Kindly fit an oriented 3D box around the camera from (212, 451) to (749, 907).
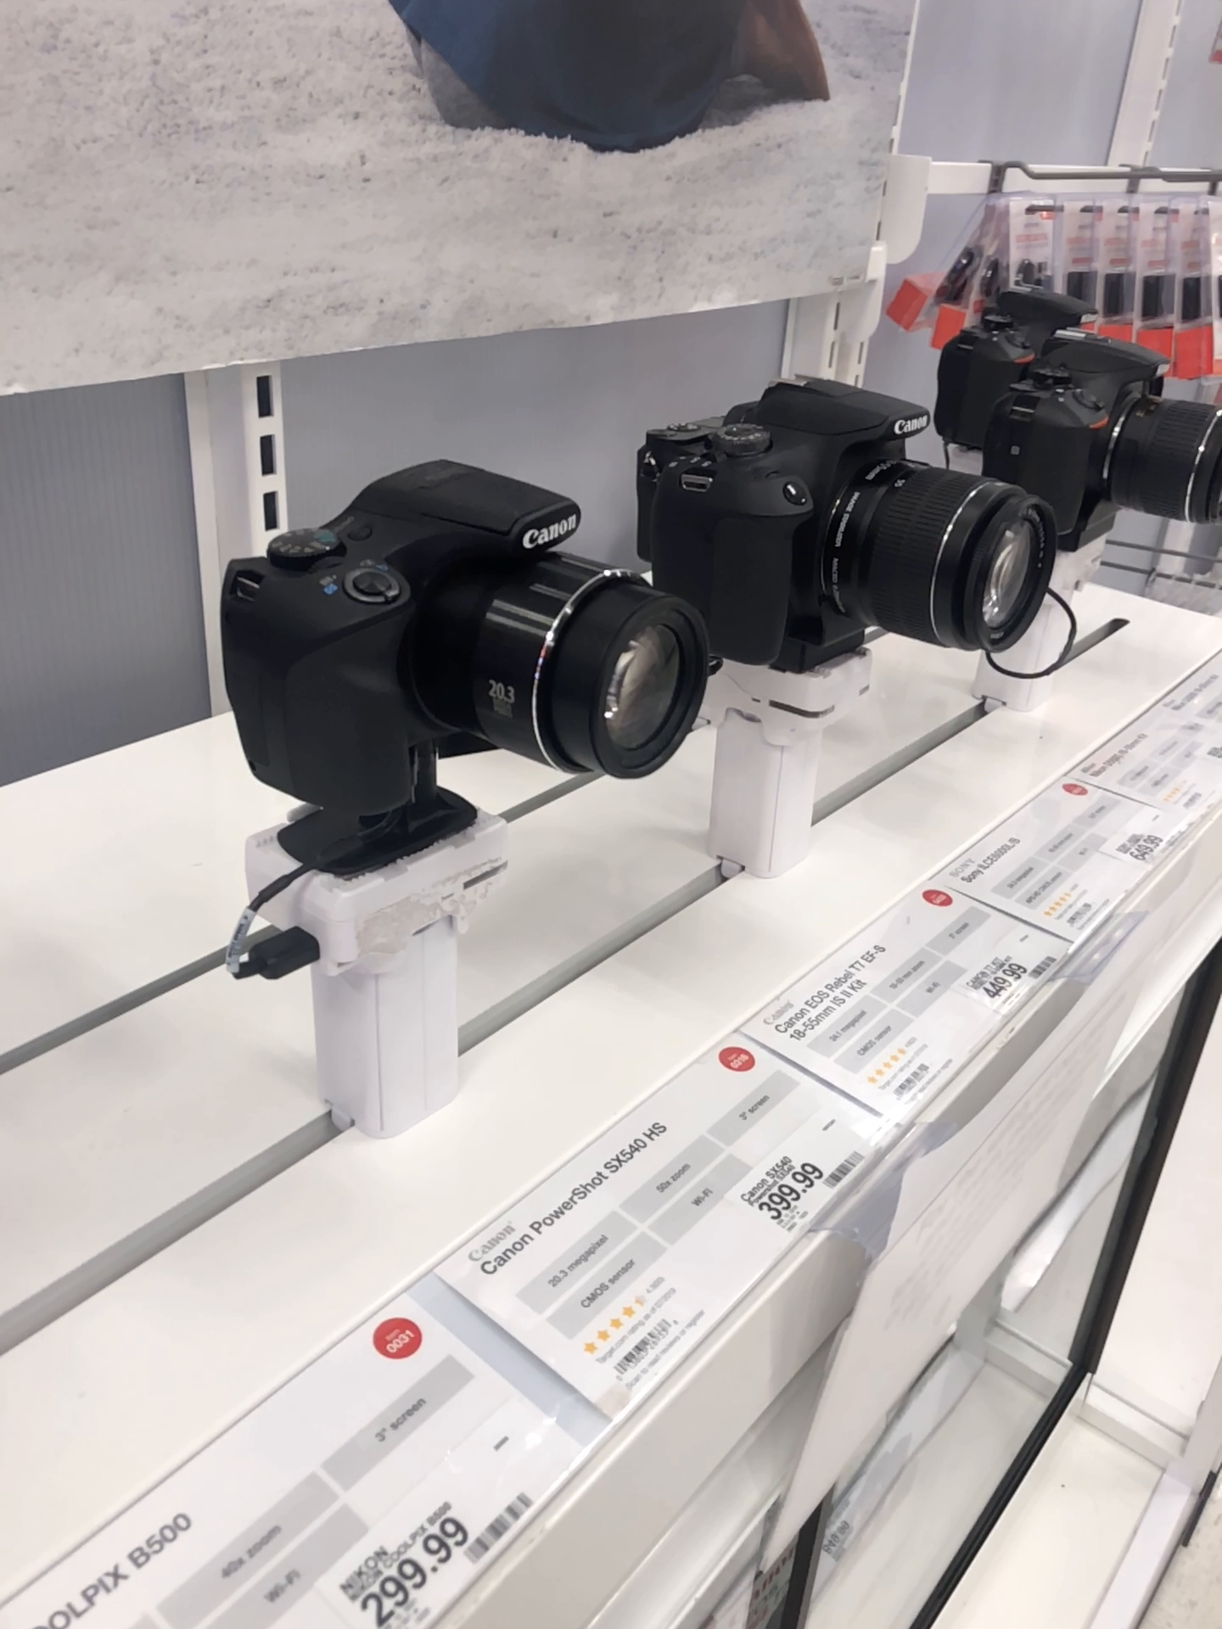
[{"bbox_3d":[-0.034,-0.045,0.369,0.099,0.076,0.100,21,33,29],"label":"camera"}]
